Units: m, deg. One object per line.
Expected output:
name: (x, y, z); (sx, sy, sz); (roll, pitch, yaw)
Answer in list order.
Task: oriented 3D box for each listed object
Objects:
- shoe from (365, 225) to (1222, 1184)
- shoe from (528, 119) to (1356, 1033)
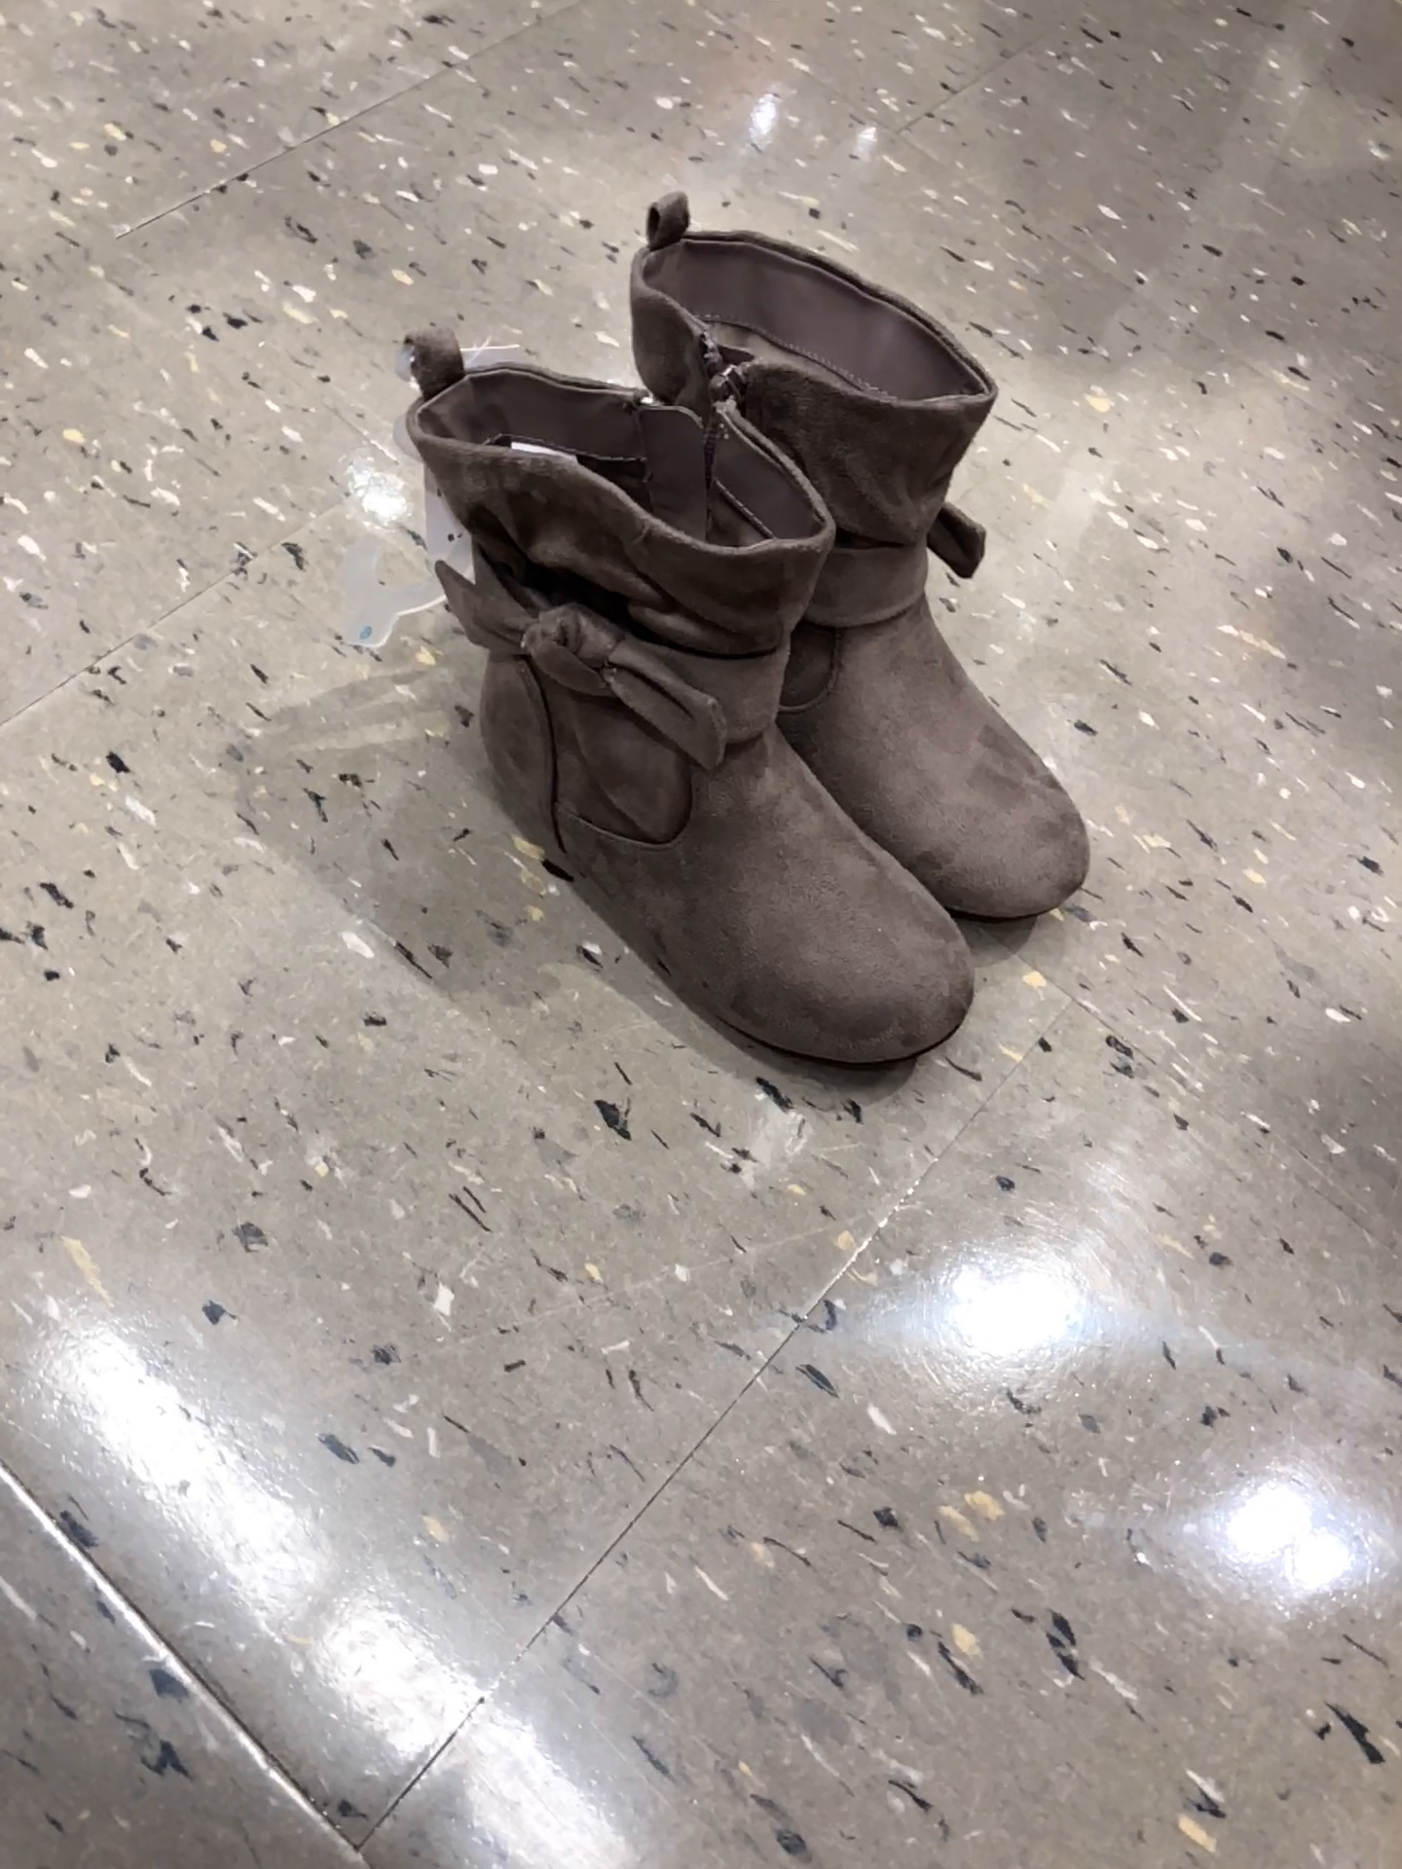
shoe: (0.008, -0.055, 0.427); (0.200, 0.160, 0.080); (44, 64, 15)
shoe: (0.050, -0.097, 0.455); (0.200, 0.160, 0.080); (44, 64, 15)
